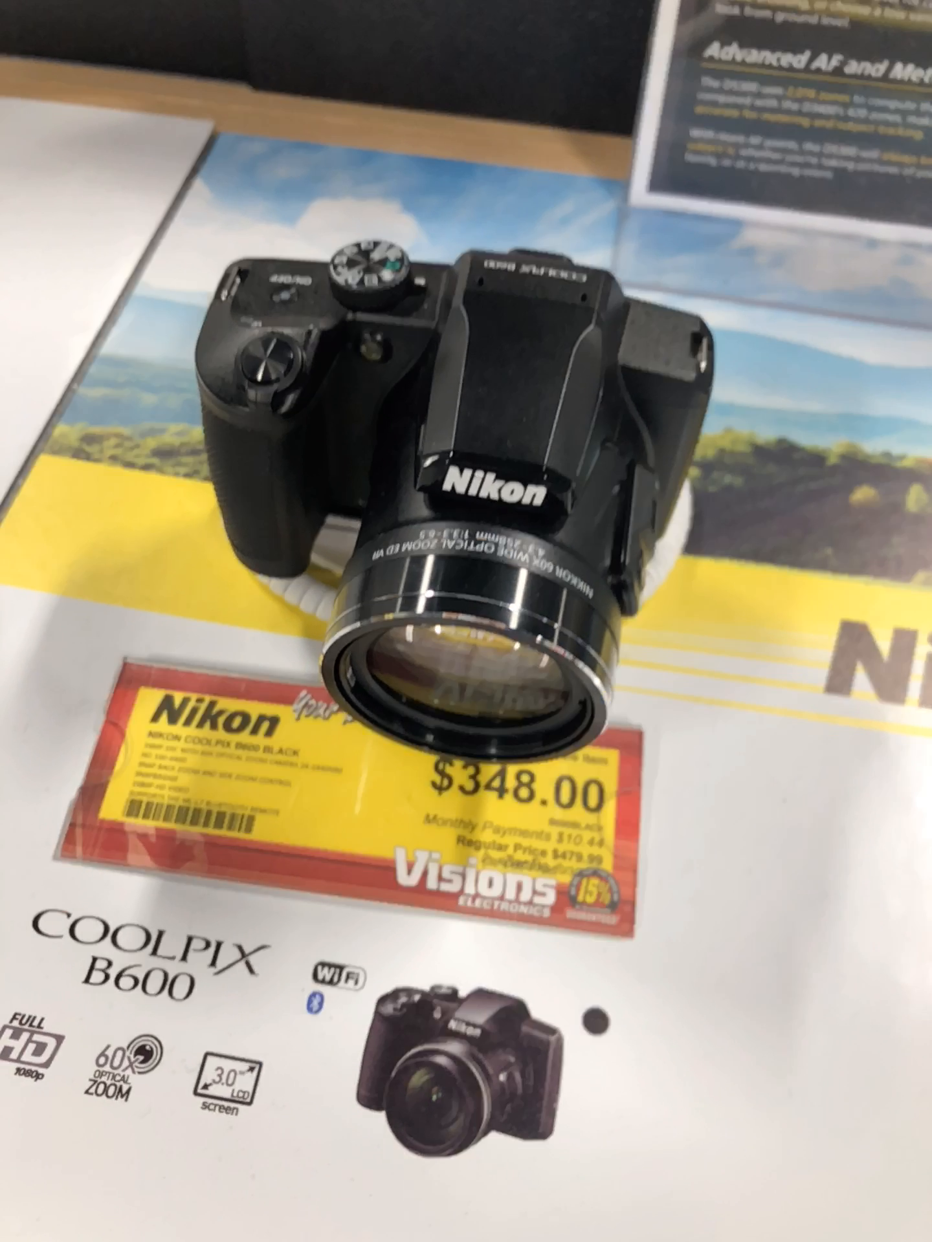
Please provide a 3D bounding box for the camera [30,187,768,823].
[{"bbox_3d":[-0.005,-0.030,0.242,0.130,0.070,0.111,9,55,5],"label":"camera"}]
